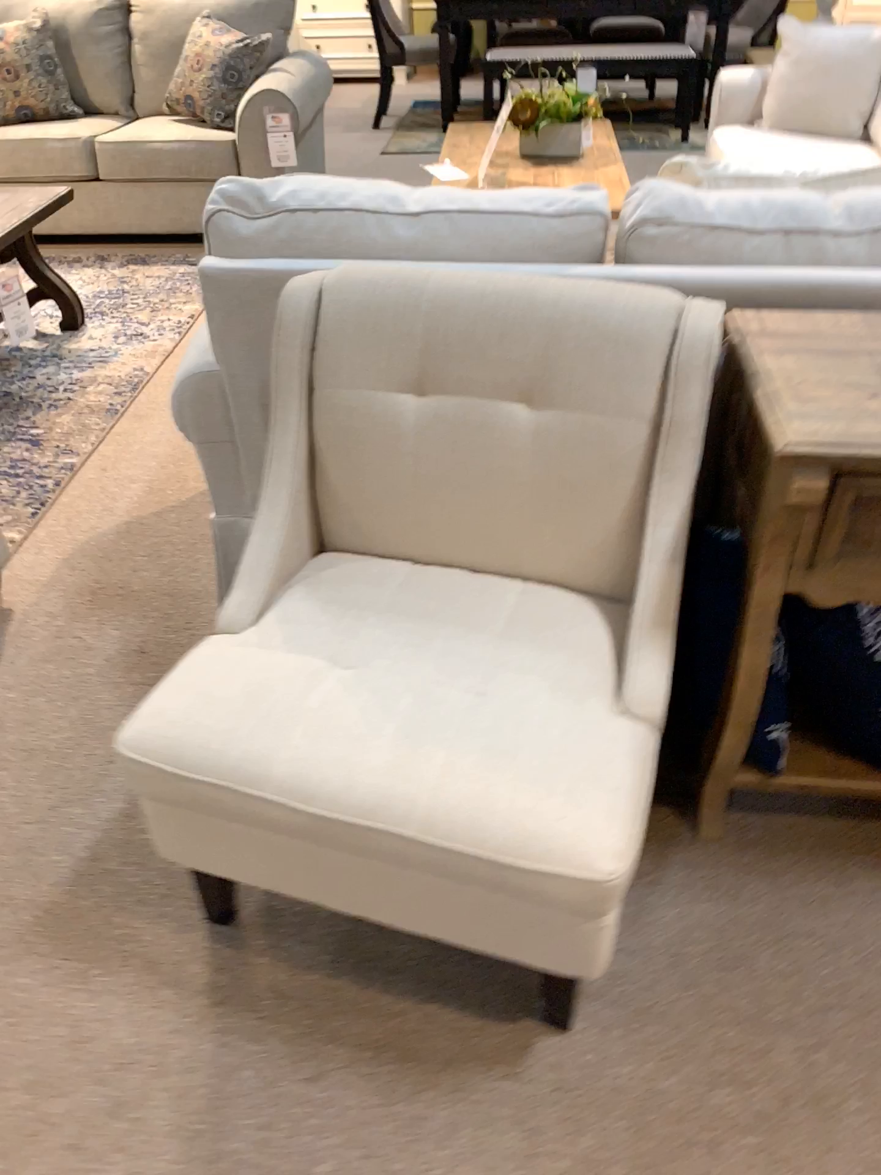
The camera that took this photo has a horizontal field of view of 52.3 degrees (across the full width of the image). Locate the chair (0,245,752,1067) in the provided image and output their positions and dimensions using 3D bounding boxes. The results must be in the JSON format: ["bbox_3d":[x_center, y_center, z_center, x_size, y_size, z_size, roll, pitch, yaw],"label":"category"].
[{"bbox_3d":[0.000,0.042,1.347,0.713,0.801,0.773,10,40,16],"label":"chair"}]
